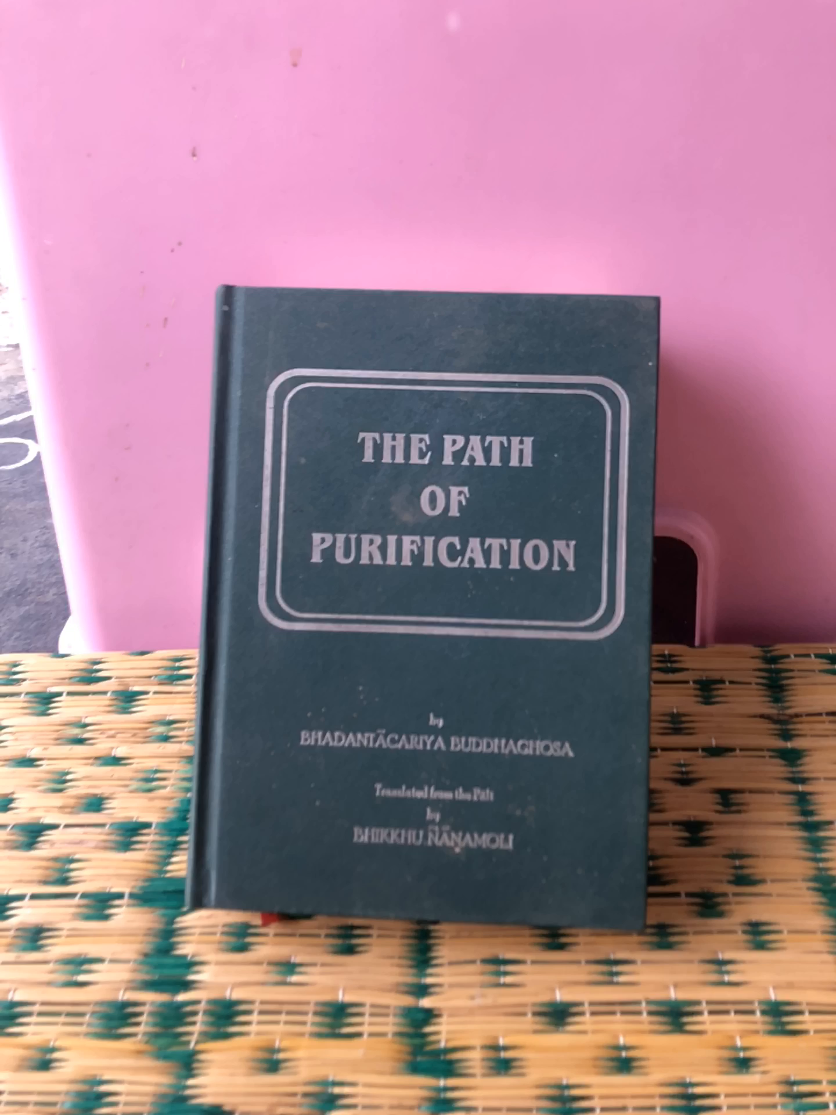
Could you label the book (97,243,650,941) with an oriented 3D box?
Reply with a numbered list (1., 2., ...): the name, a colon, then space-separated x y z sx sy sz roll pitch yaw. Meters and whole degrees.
1. book: -0.008 0.008 0.324 0.160 0.080 0.210 2 81 5
